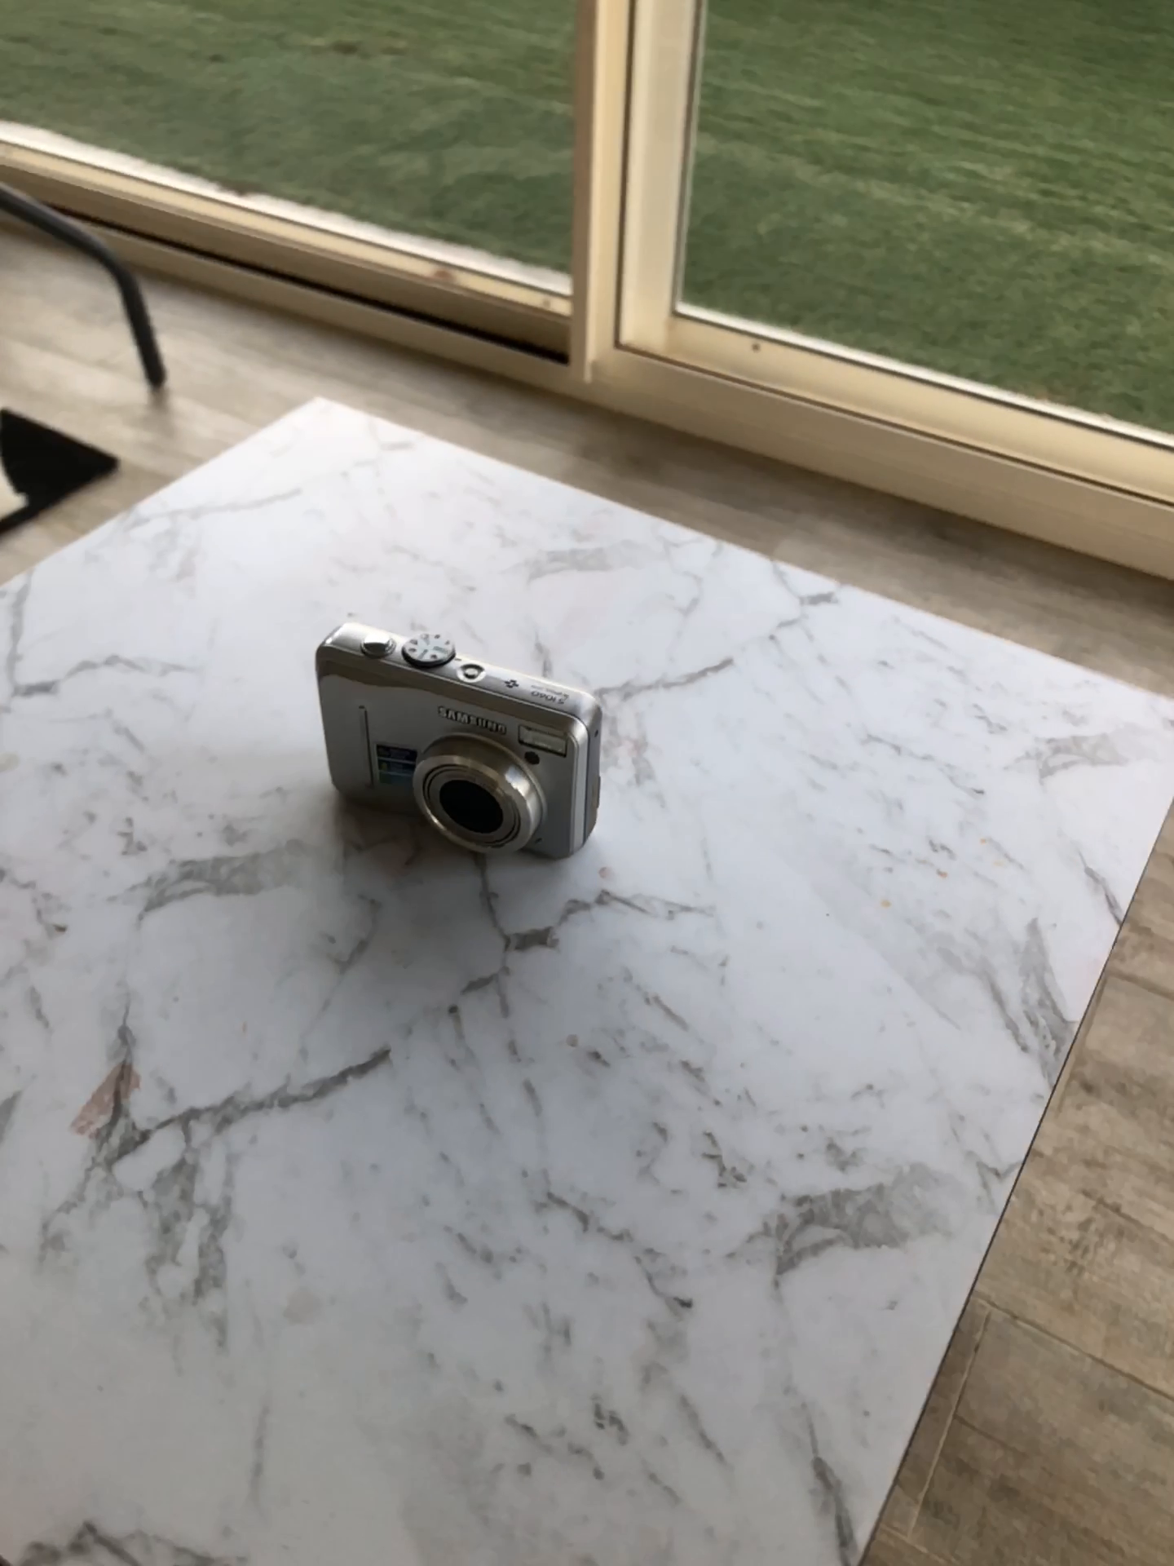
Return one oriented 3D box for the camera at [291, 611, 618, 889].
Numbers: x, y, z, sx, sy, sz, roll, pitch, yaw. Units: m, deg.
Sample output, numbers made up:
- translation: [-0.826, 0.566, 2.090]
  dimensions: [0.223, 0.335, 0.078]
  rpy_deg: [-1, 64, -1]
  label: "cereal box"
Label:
- translation: [-0.043, -0.011, 0.436]
  dimensions: [0.099, 0.061, 0.034]
  rpy_deg: [16, 45, 14]
  label: "camera"
